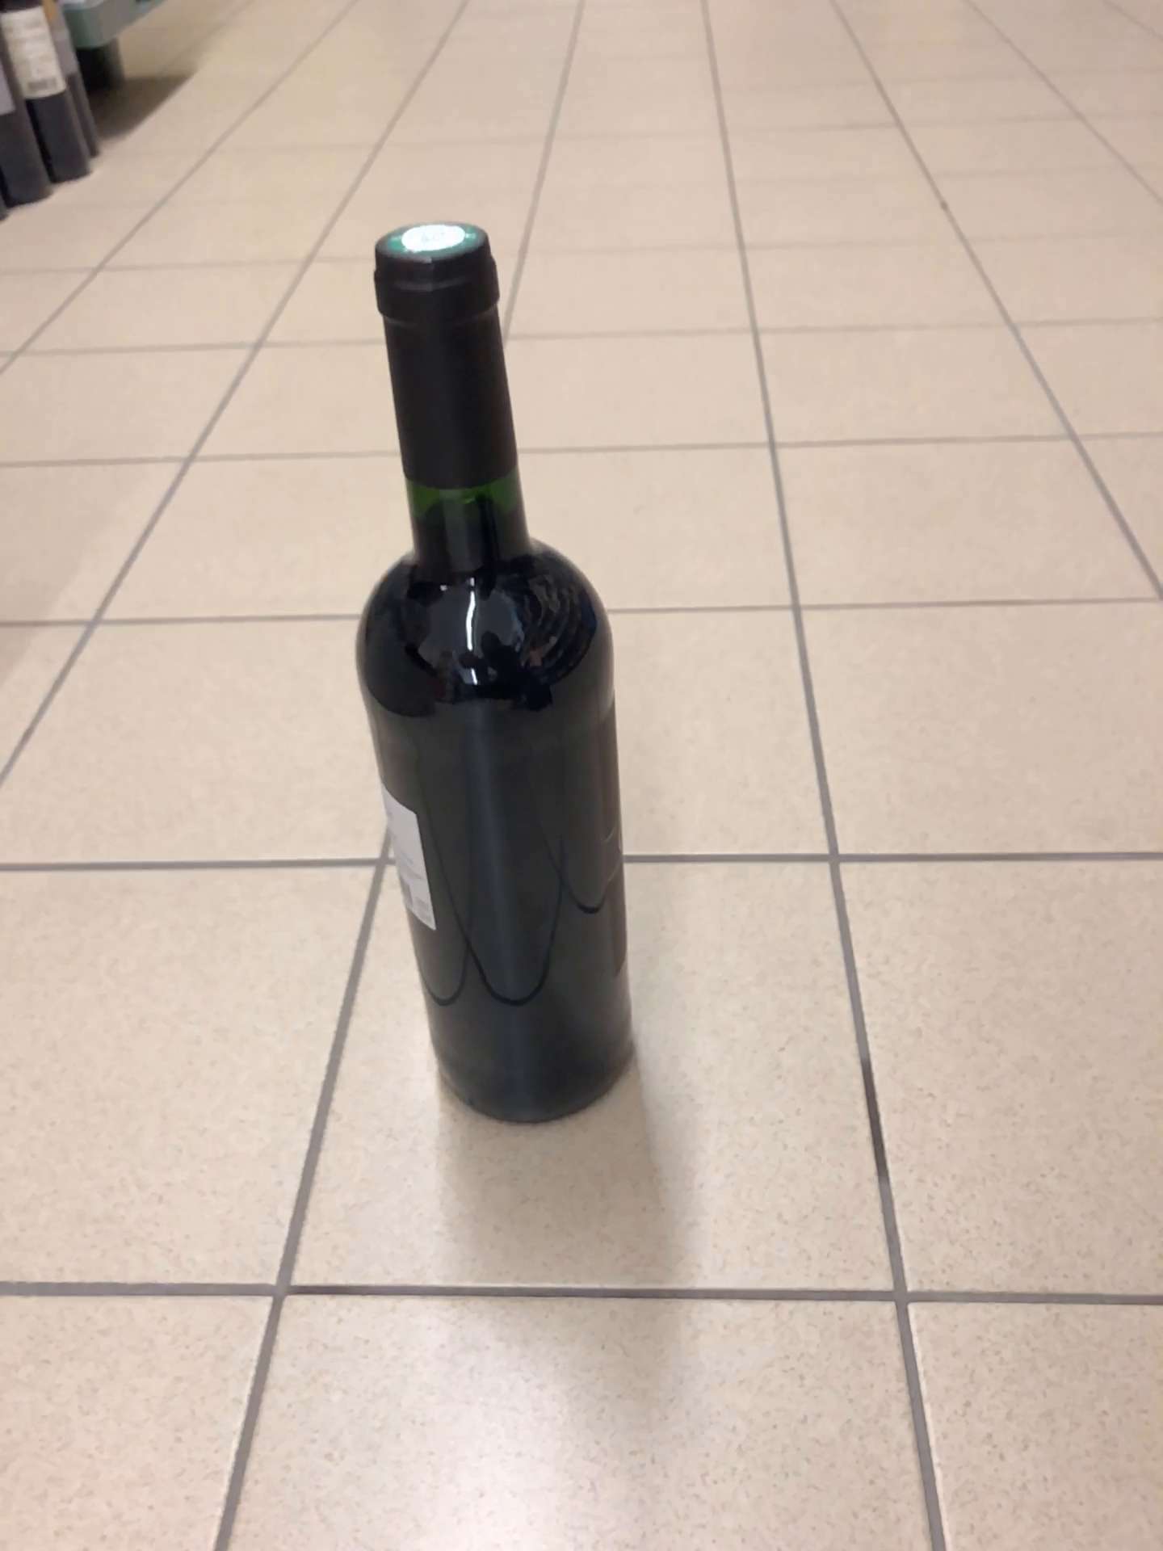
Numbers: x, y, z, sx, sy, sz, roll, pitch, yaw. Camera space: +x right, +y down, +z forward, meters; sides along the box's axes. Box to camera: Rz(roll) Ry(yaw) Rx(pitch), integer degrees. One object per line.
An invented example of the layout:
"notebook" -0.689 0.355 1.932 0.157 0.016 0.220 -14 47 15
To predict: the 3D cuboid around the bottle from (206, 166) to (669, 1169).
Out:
"bottle" -0.032 -0.014 0.392 0.090 0.288 0.090 -2 39 2
